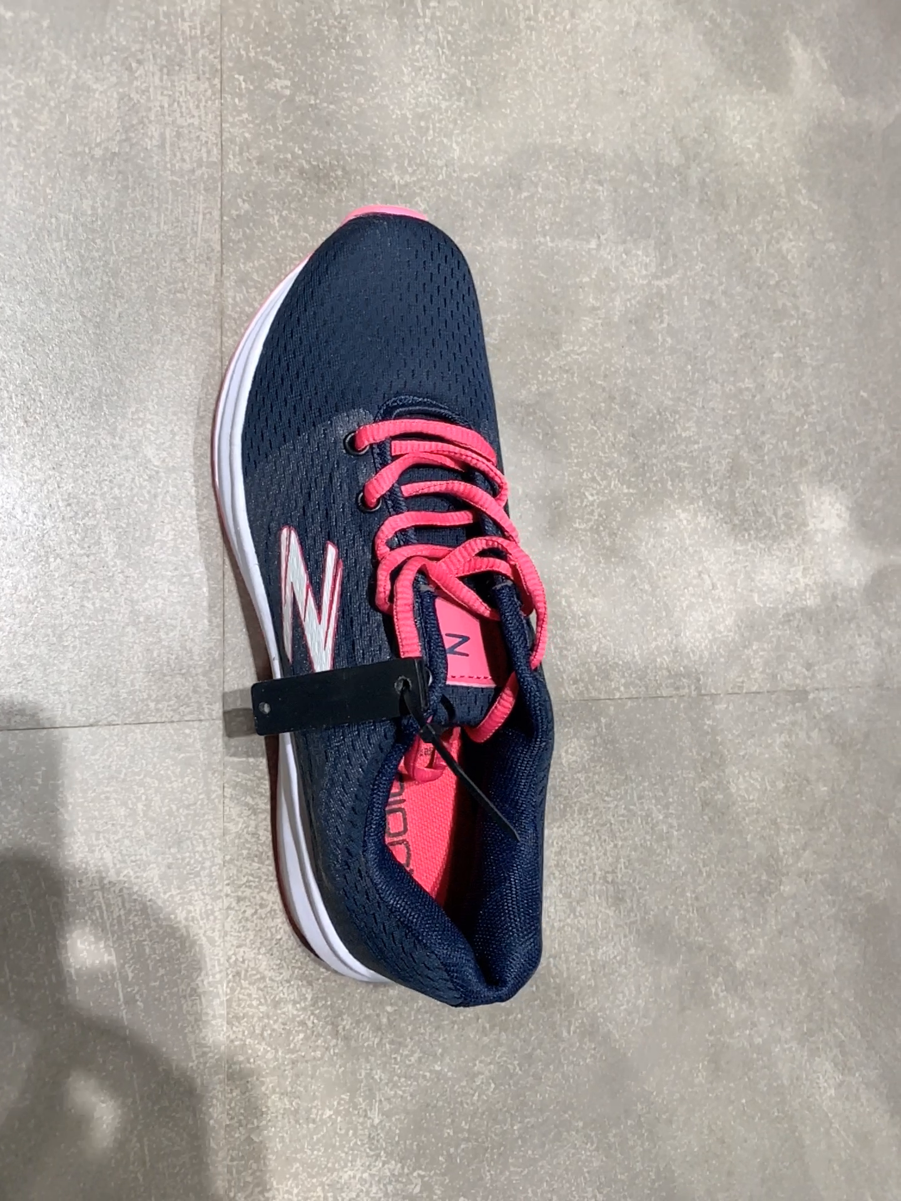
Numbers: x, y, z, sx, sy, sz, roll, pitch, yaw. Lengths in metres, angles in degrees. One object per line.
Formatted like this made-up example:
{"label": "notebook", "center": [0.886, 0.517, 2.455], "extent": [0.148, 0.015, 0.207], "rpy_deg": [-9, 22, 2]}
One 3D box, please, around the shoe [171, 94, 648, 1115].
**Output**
{"label": "shoe", "center": [-0.017, -0.001, 0.286], "extent": [0.095, 0.090, 0.248], "rpy_deg": [-5, 89, -28]}
